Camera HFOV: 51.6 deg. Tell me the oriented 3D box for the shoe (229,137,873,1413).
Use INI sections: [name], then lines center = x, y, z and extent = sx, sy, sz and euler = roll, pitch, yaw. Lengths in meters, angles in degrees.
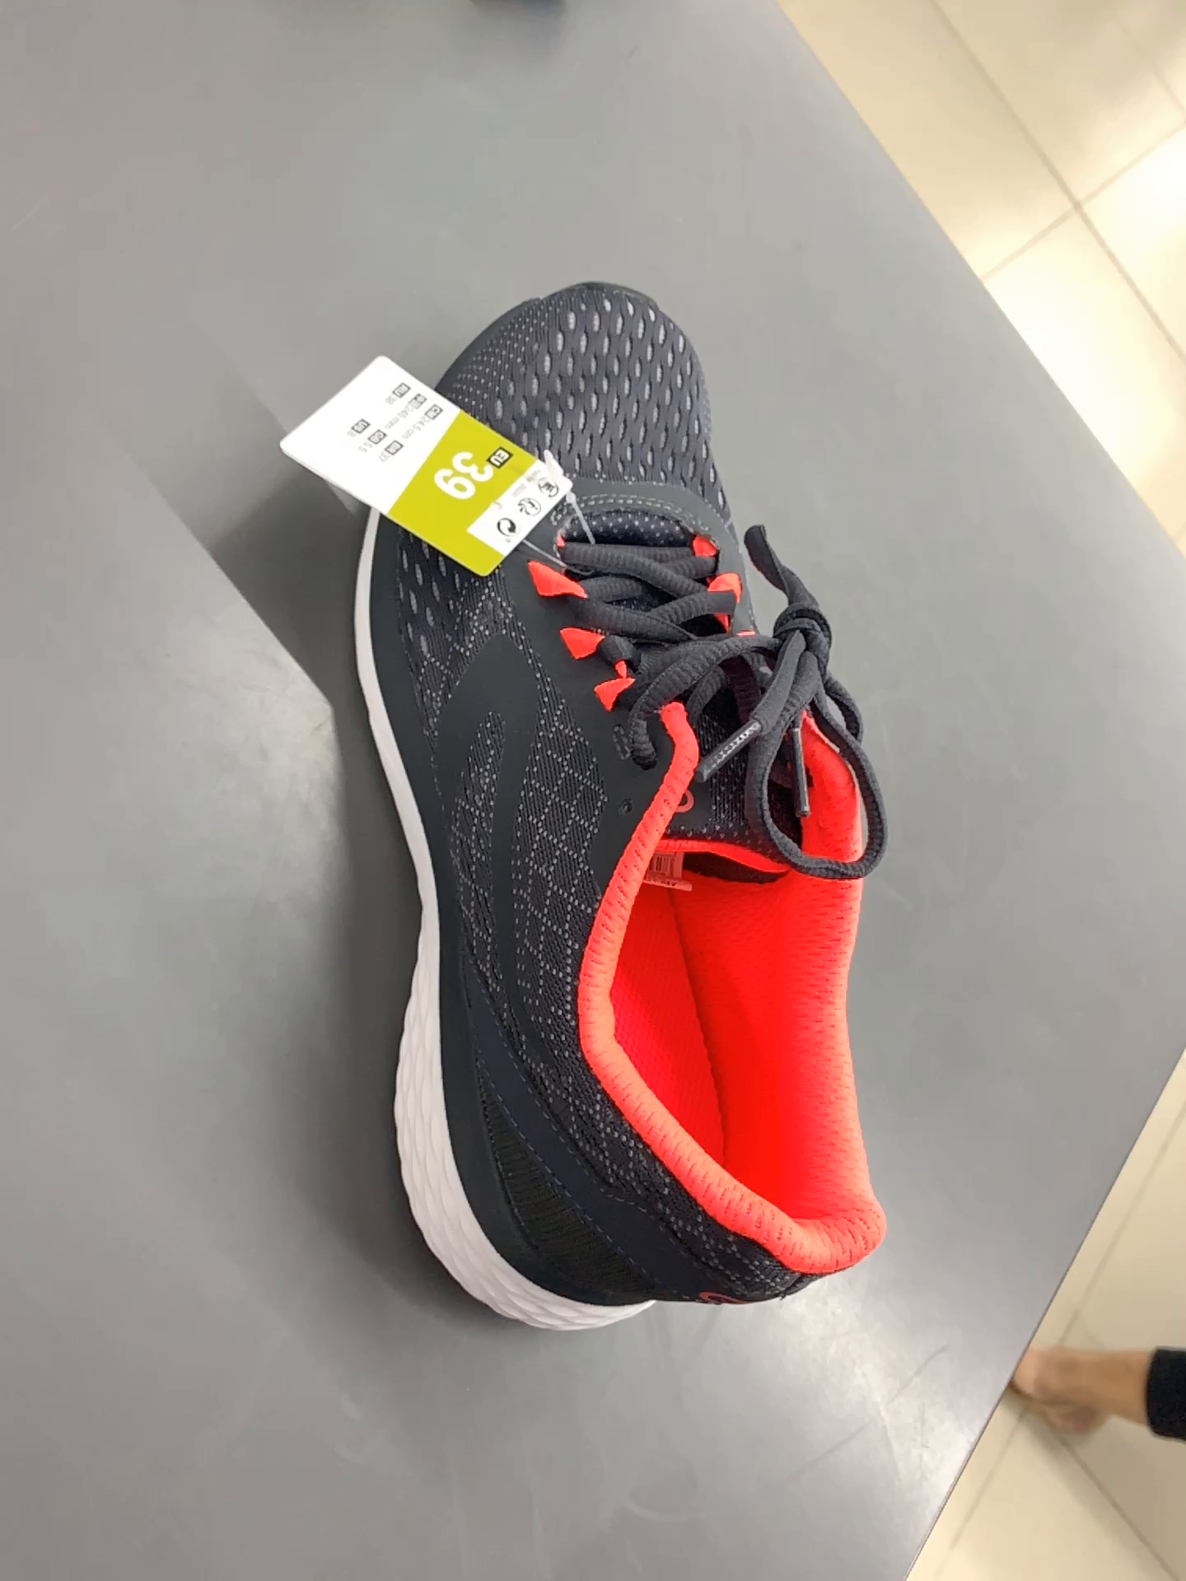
[shoe]
center = -0.017, -0.002, 0.319
extent = 0.110, 0.110, 0.270
euler = 8, 71, -27
